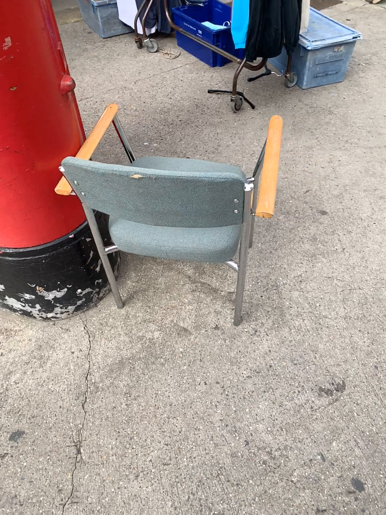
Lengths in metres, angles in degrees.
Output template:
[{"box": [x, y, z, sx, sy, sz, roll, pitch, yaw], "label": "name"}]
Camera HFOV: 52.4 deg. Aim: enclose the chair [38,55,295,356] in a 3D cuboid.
[{"box": [-0.009, -0.157, 1.300, 0.557, 0.740, 0.575, 7, 48, 9], "label": "chair"}]
